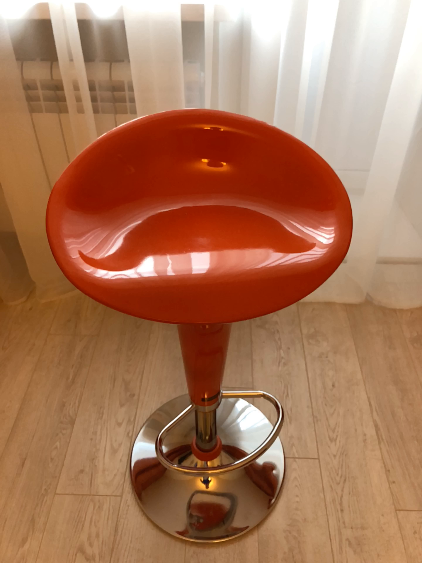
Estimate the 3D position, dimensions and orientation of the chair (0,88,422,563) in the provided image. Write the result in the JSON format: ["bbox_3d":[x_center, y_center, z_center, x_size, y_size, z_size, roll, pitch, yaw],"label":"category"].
[{"bbox_3d":[-0.018,0.127,0.834,0.411,0.725,0.422,-22,47,-23],"label":"chair"}]
